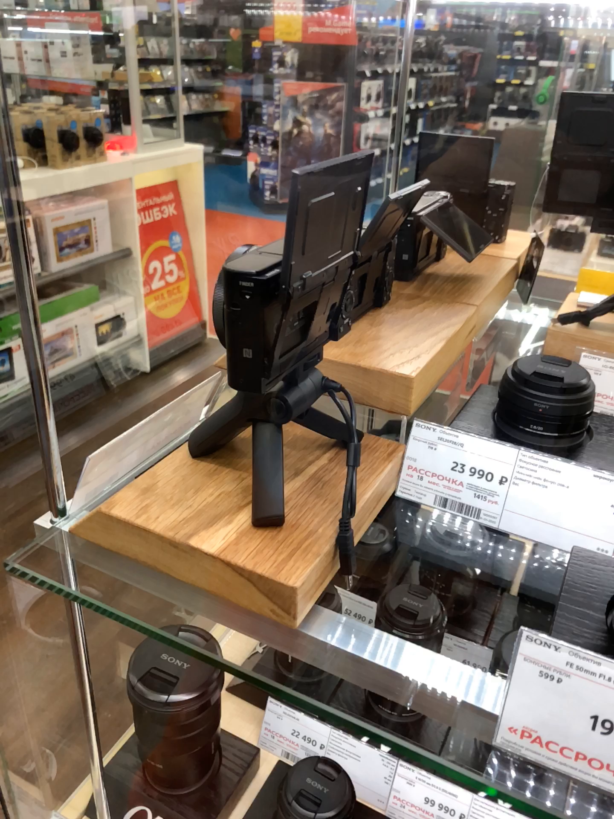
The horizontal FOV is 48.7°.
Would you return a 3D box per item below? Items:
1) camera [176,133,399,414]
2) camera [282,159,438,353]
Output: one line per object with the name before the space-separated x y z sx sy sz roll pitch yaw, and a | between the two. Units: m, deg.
camera | -0.006 -0.071 0.325 0.057 0.102 0.103 15 30 23
camera | 0.037 -0.110 0.470 0.065 0.102 0.103 15 30 23
